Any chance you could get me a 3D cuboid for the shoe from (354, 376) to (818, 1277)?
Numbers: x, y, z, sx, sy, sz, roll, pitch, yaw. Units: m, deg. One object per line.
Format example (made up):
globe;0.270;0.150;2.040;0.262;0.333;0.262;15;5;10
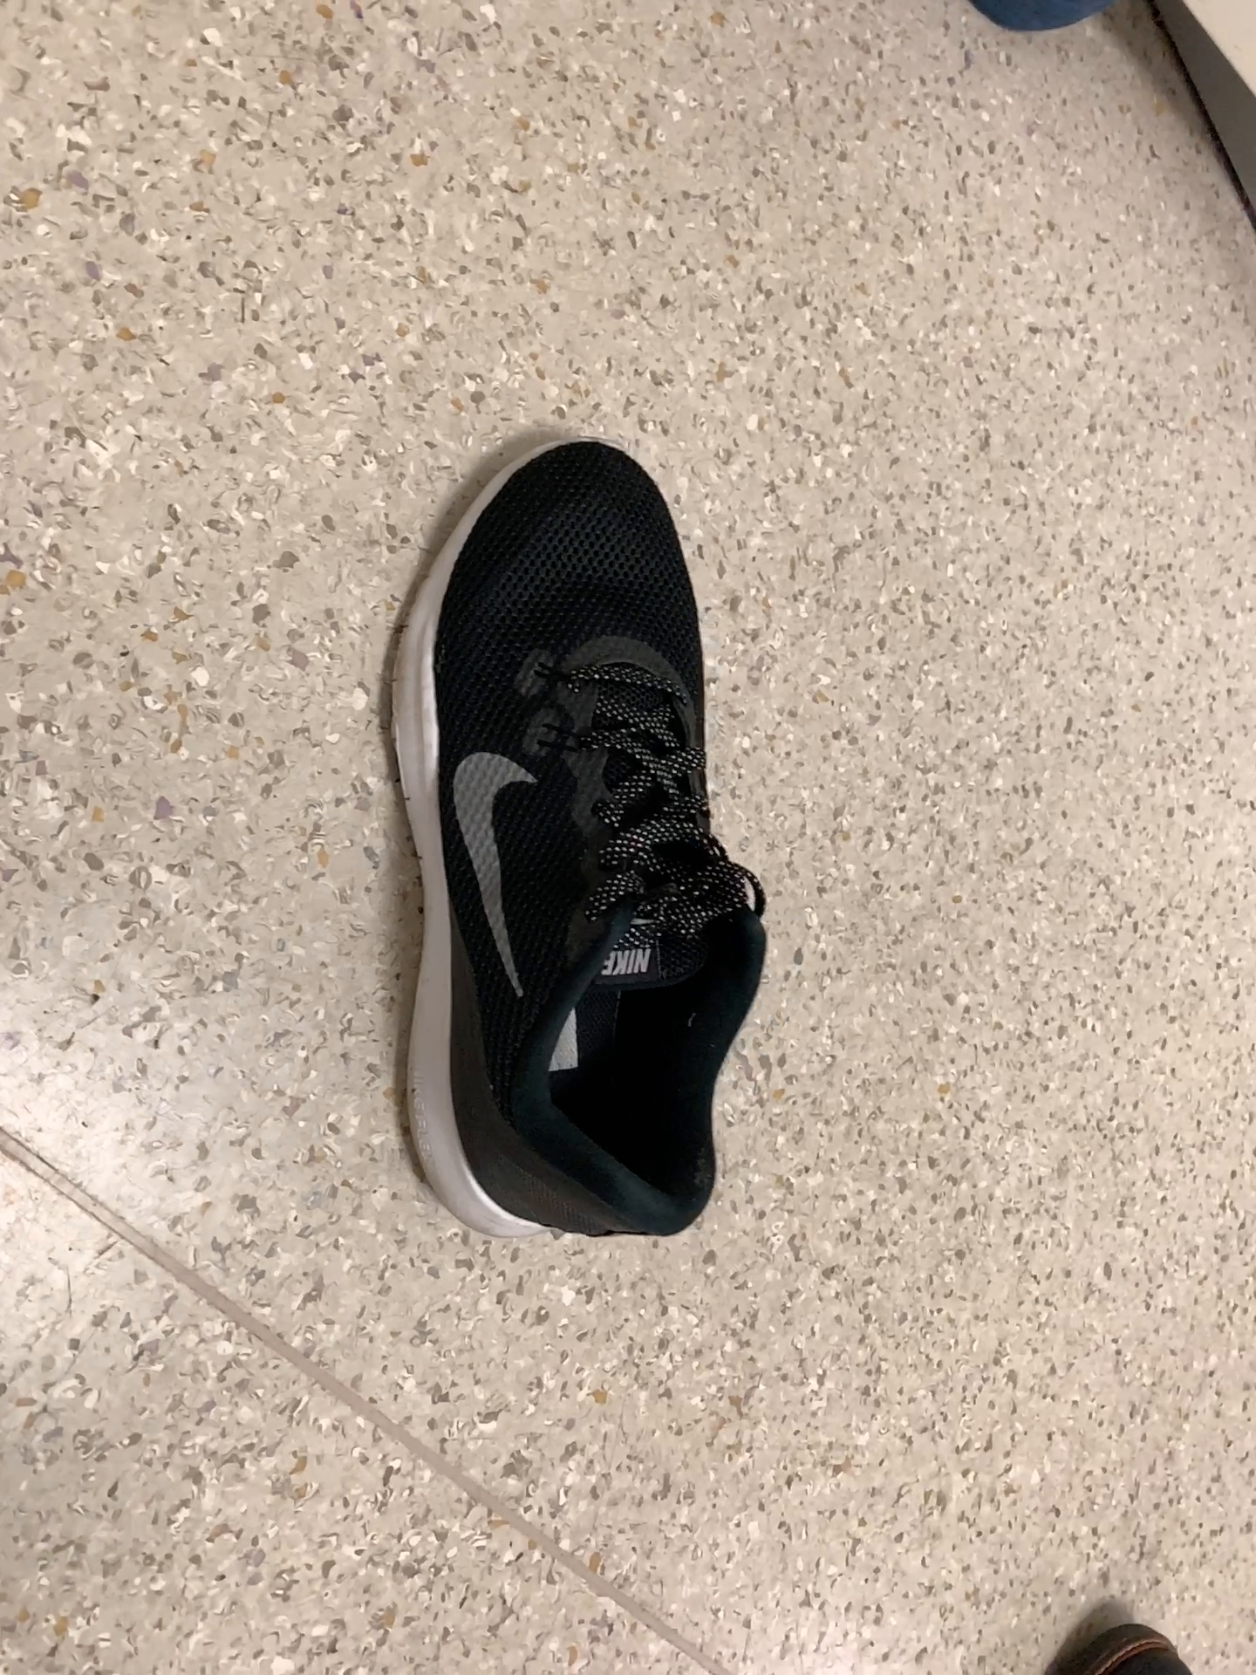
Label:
shoe;-0.014;-0.001;0.430;0.114;0.093;0.252;4;86;-34
